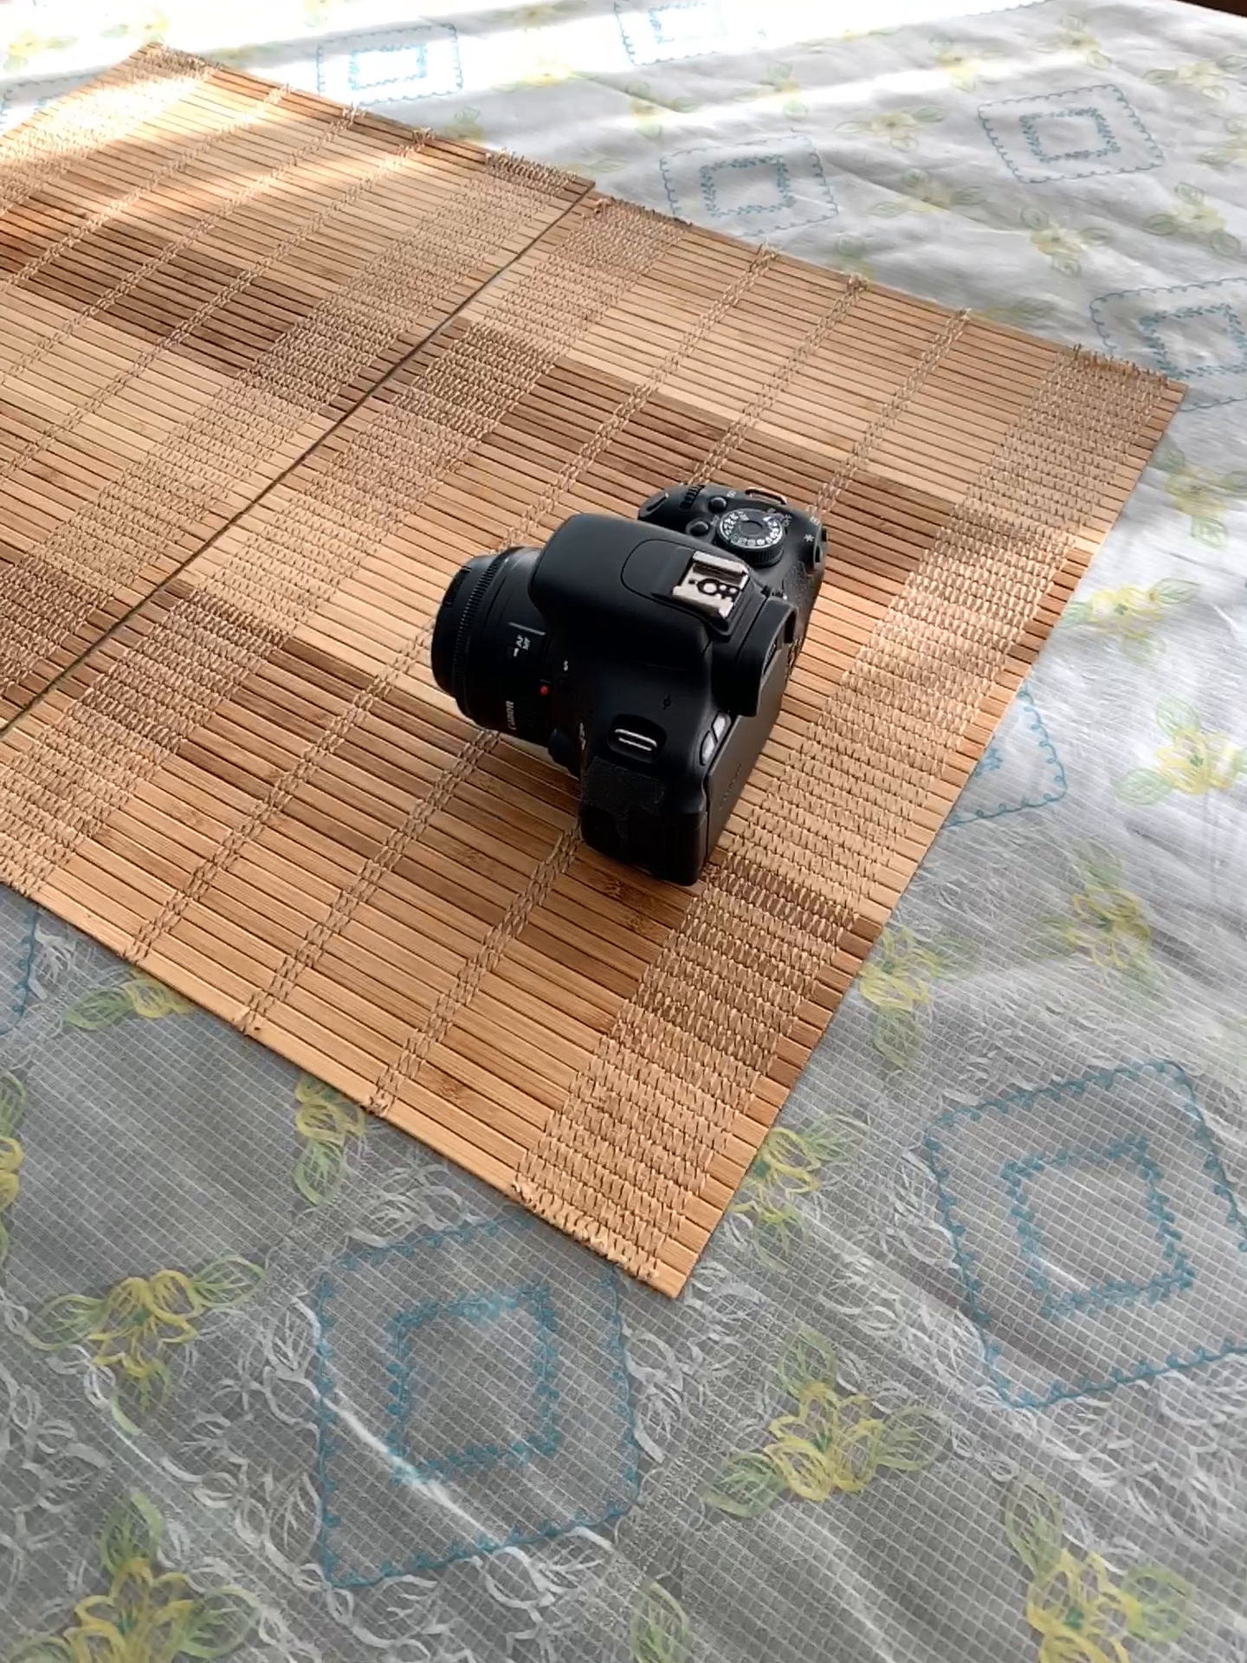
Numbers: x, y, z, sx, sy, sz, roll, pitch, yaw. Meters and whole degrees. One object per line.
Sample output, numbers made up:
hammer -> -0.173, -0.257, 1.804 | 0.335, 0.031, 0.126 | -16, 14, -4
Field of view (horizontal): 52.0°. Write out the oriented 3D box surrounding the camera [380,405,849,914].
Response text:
camera -> 0.002, -0.062, 0.442 | 0.106, 0.080, 0.133 | 19, 59, 15
